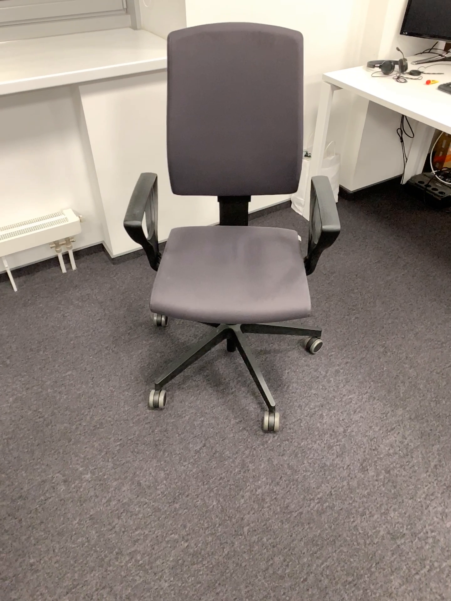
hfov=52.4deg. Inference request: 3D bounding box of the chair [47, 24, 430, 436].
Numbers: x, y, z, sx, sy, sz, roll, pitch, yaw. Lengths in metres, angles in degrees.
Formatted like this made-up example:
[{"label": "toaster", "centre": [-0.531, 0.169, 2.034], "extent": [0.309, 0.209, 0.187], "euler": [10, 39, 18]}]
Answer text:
[{"label": "chair", "centre": [0.034, -0.201, 1.465], "extent": [0.700, 1.044, 0.754], "euler": [2, 41, 2]}]
